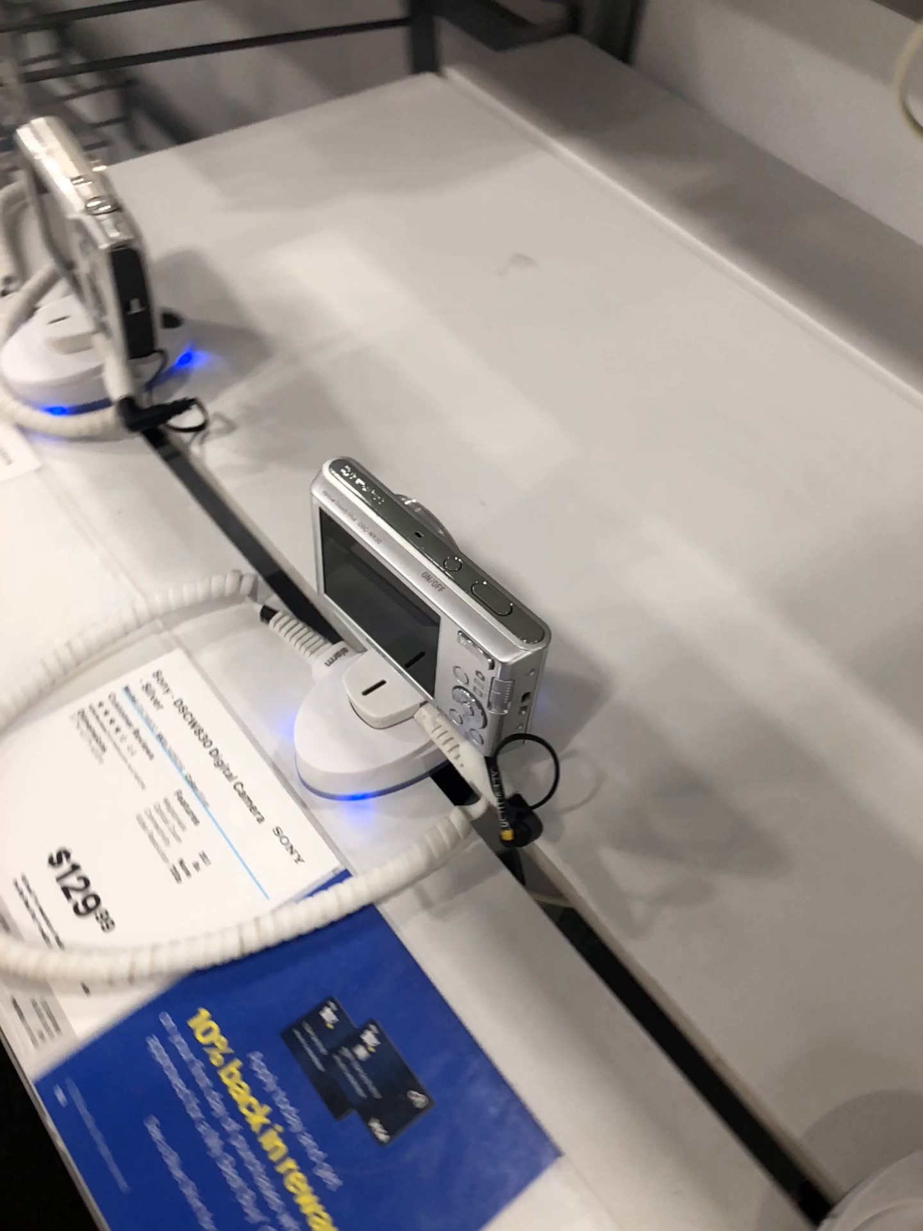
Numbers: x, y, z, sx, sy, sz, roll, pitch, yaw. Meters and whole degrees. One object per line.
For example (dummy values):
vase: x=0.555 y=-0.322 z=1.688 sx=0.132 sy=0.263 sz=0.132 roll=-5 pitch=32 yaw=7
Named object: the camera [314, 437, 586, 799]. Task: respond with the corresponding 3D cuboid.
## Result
camera: x=-0.008 y=0.001 z=0.308 sx=0.020 sy=0.070 sz=0.090 roll=-33 pitch=62 yaw=-28
